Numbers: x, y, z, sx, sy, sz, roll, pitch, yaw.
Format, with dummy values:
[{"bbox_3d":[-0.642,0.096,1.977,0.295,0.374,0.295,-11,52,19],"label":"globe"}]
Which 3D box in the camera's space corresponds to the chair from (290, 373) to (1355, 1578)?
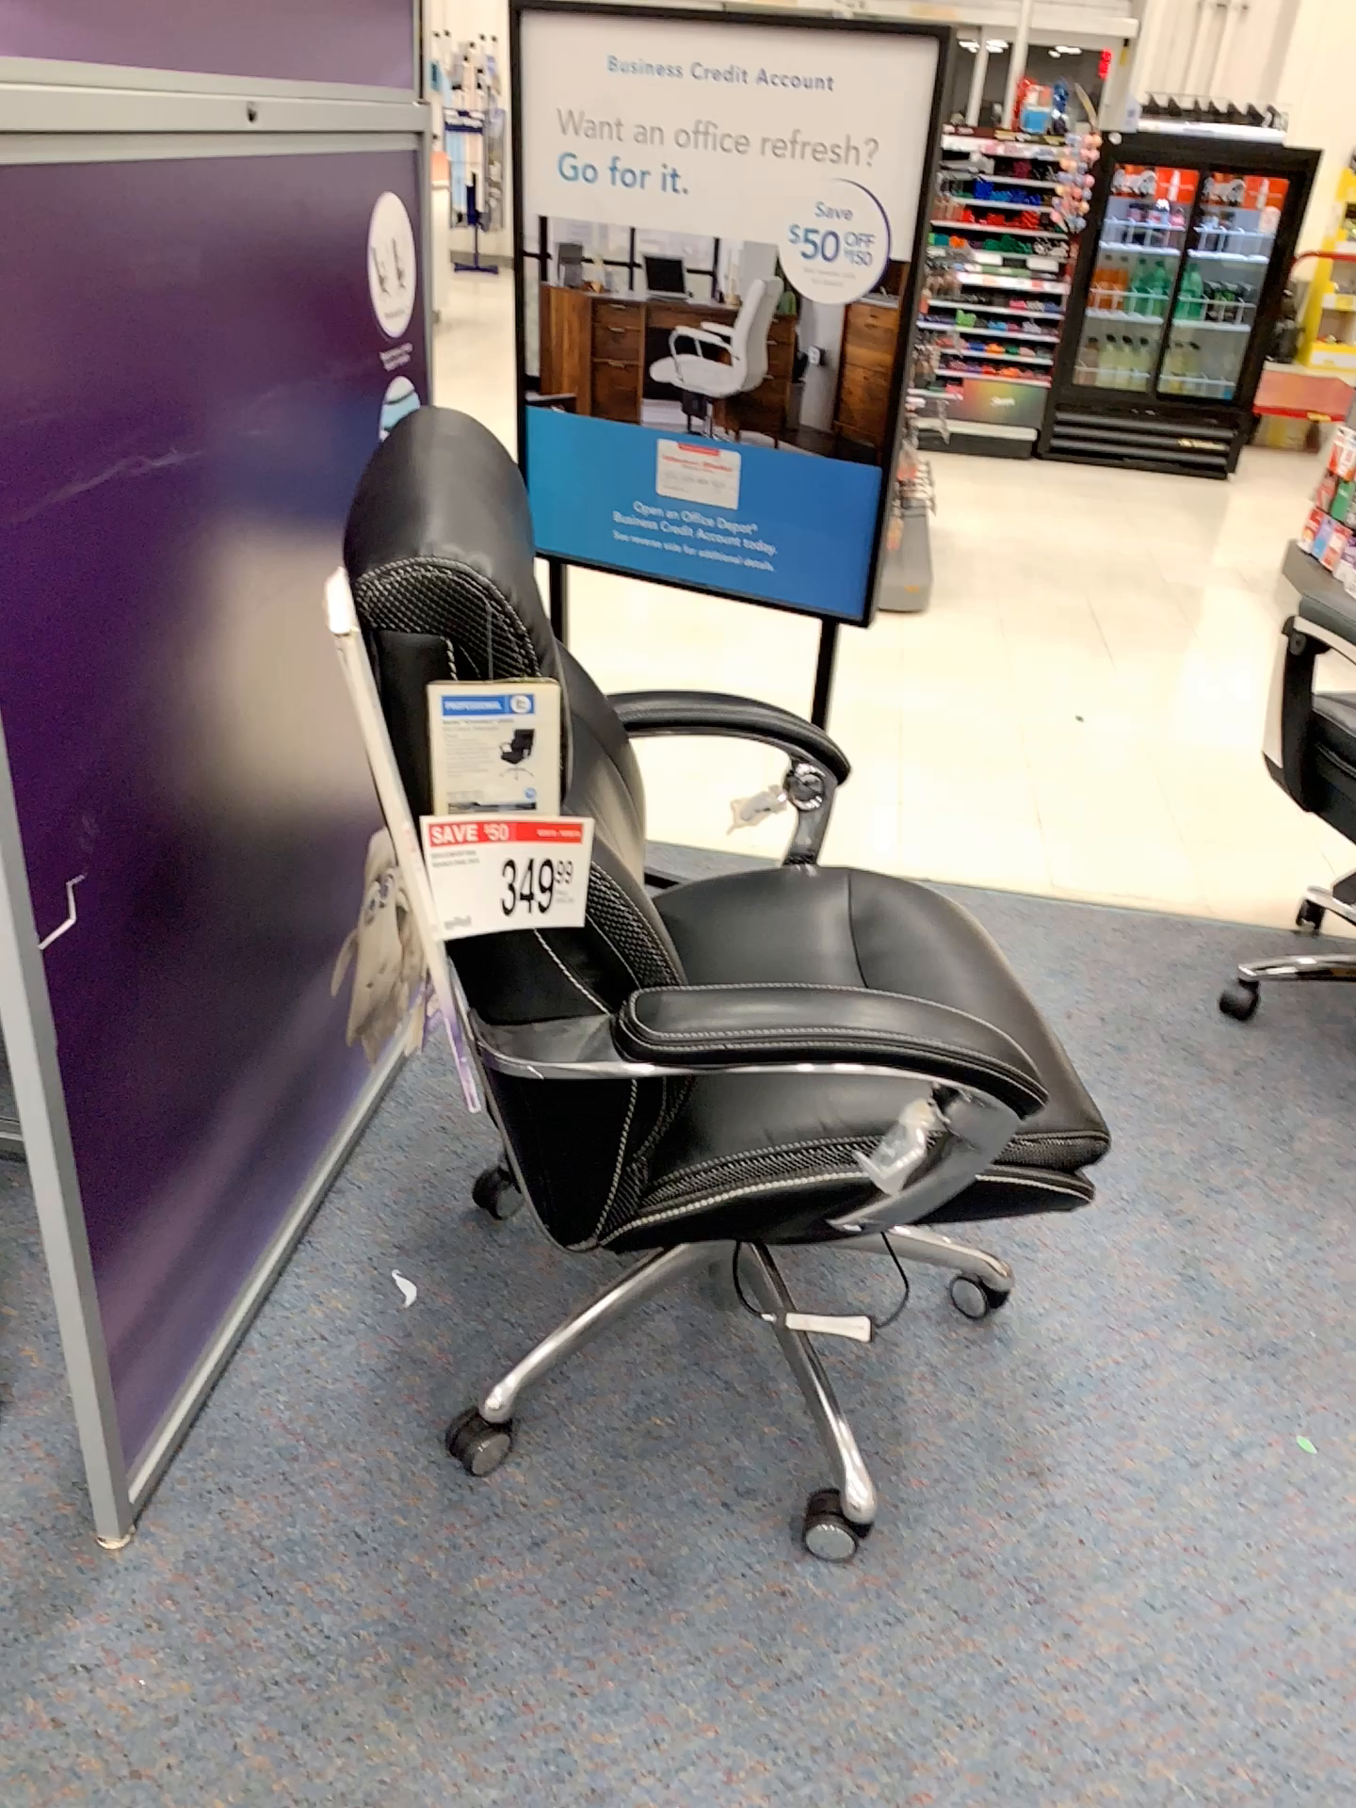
[{"bbox_3d":[0.081,0.040,1.424,0.781,0.946,0.742,1,29,-7],"label":"chair"}]
